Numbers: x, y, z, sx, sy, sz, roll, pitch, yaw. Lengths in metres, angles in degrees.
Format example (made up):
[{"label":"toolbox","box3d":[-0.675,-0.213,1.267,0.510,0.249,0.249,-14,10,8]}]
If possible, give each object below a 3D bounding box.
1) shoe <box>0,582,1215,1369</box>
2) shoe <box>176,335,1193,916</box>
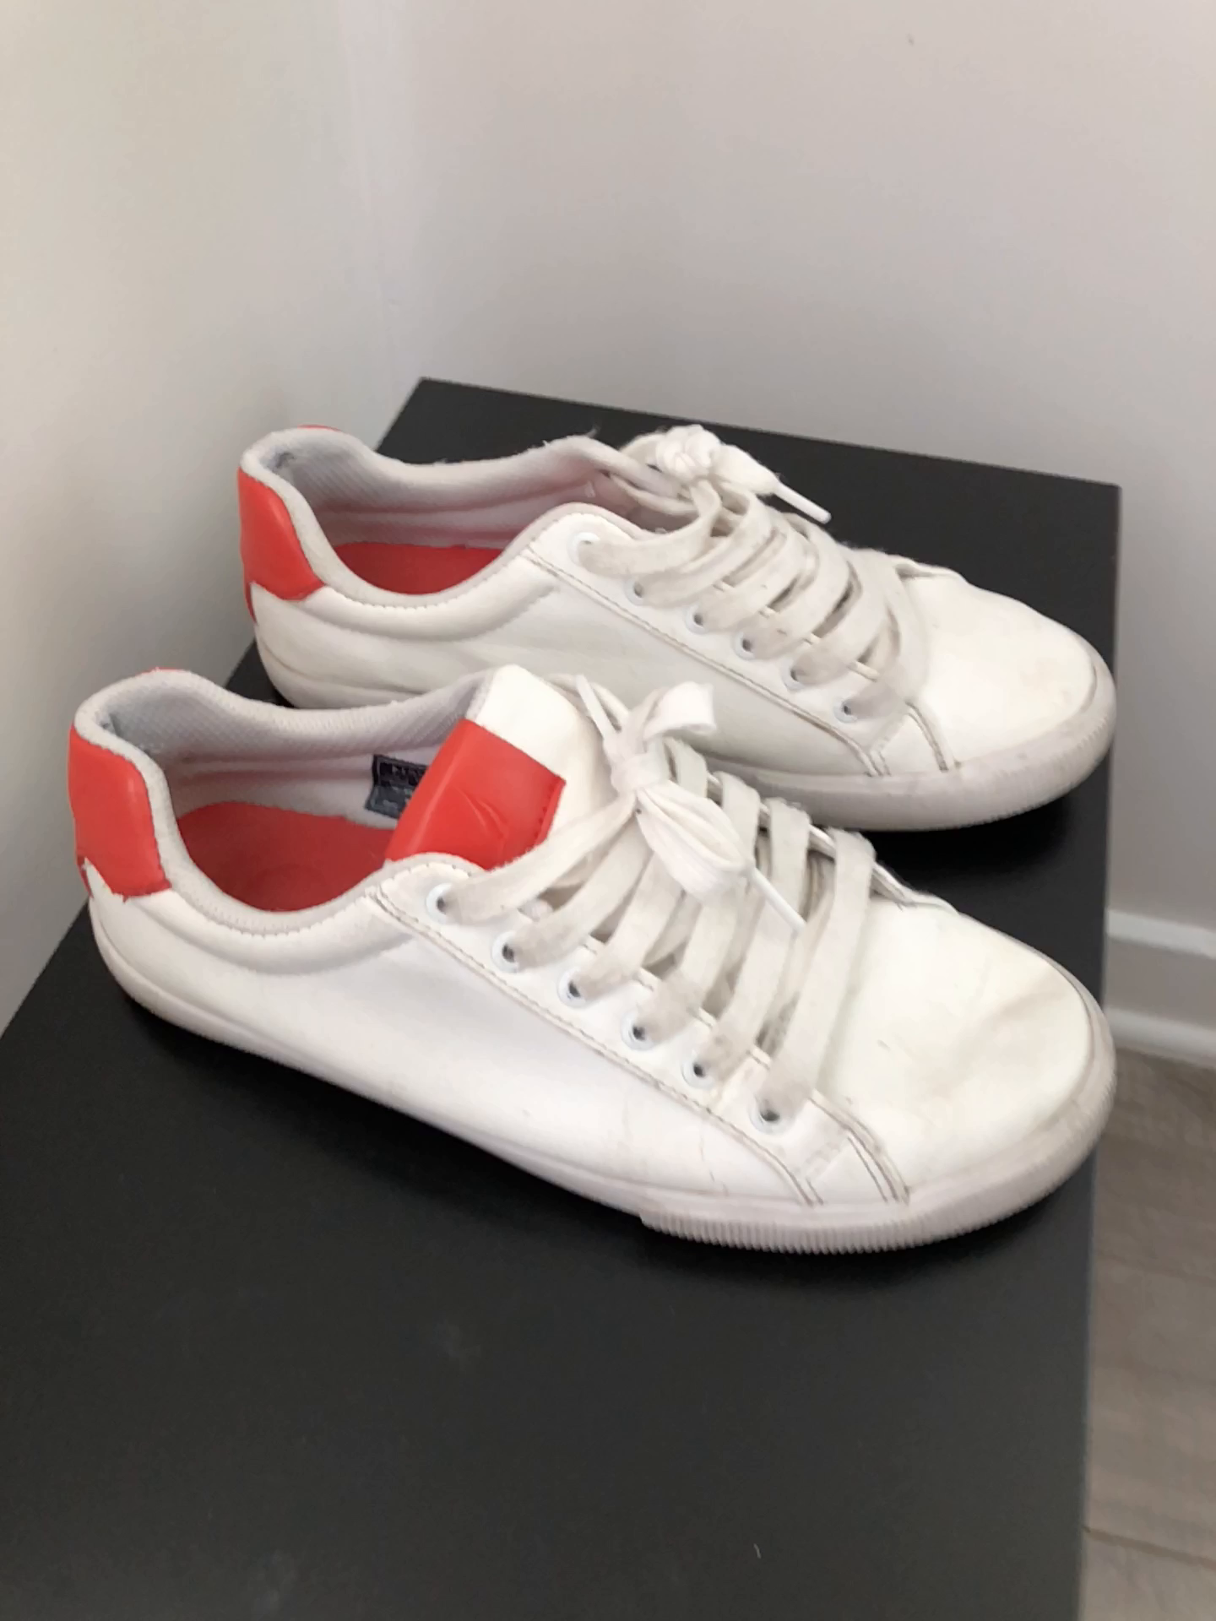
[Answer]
[{"label":"shoe","box3d":[0.004,0.030,0.287,0.235,0.080,0.103,9,49,7]},{"label":"shoe","box3d":[0.021,-0.054,0.363,0.230,0.080,0.100,9,49,7]}]
